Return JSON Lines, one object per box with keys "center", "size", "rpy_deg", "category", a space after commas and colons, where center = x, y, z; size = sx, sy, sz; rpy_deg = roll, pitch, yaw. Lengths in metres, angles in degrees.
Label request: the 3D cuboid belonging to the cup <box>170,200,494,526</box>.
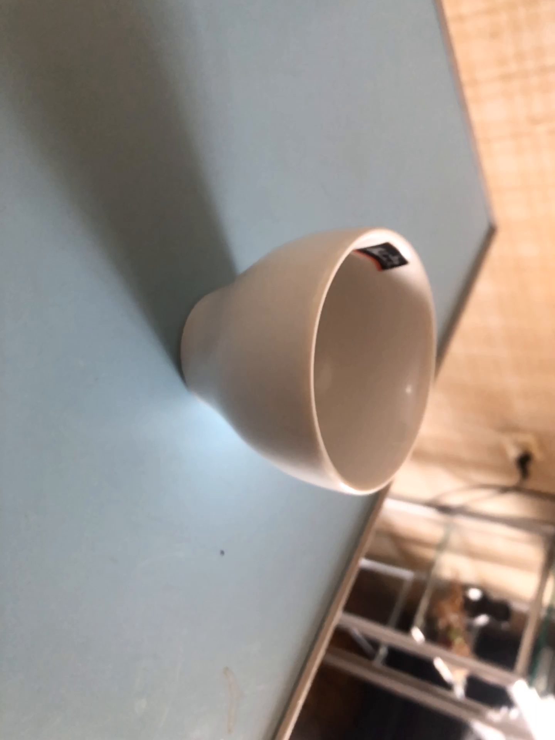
{"center": [0.026, -0.004, 0.233], "size": [0.111, 0.065, 0.088], "rpy_deg": [0, 94, -53], "category": "cup"}
